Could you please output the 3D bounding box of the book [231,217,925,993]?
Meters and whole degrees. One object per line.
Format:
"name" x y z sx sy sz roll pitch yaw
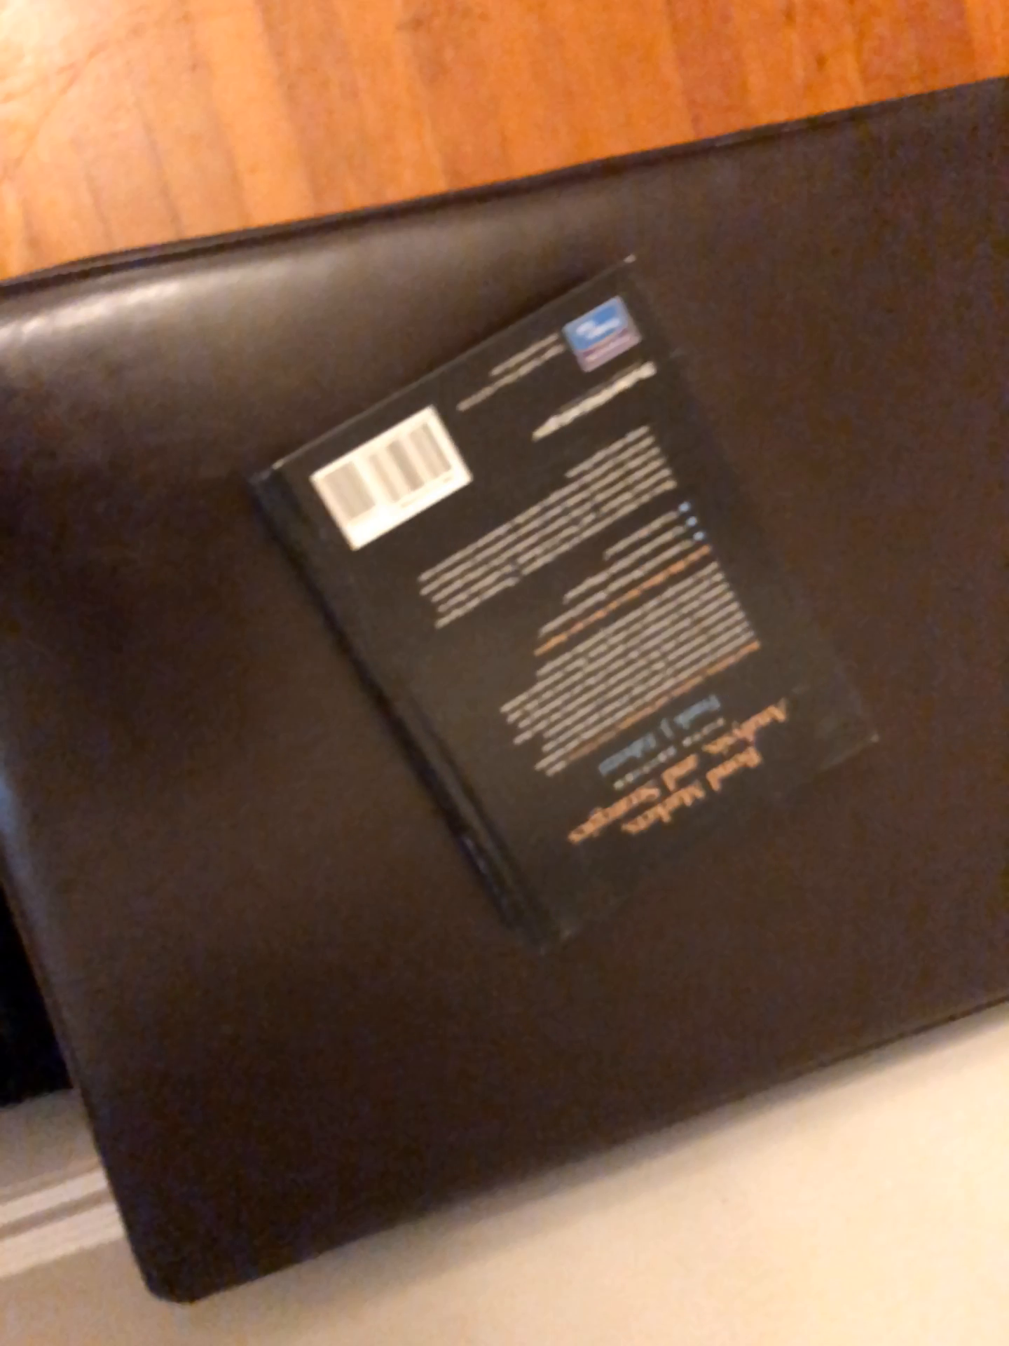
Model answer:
"book" 0.039 -0.026 0.492 0.200 0.040 0.260 -31 102 -7
